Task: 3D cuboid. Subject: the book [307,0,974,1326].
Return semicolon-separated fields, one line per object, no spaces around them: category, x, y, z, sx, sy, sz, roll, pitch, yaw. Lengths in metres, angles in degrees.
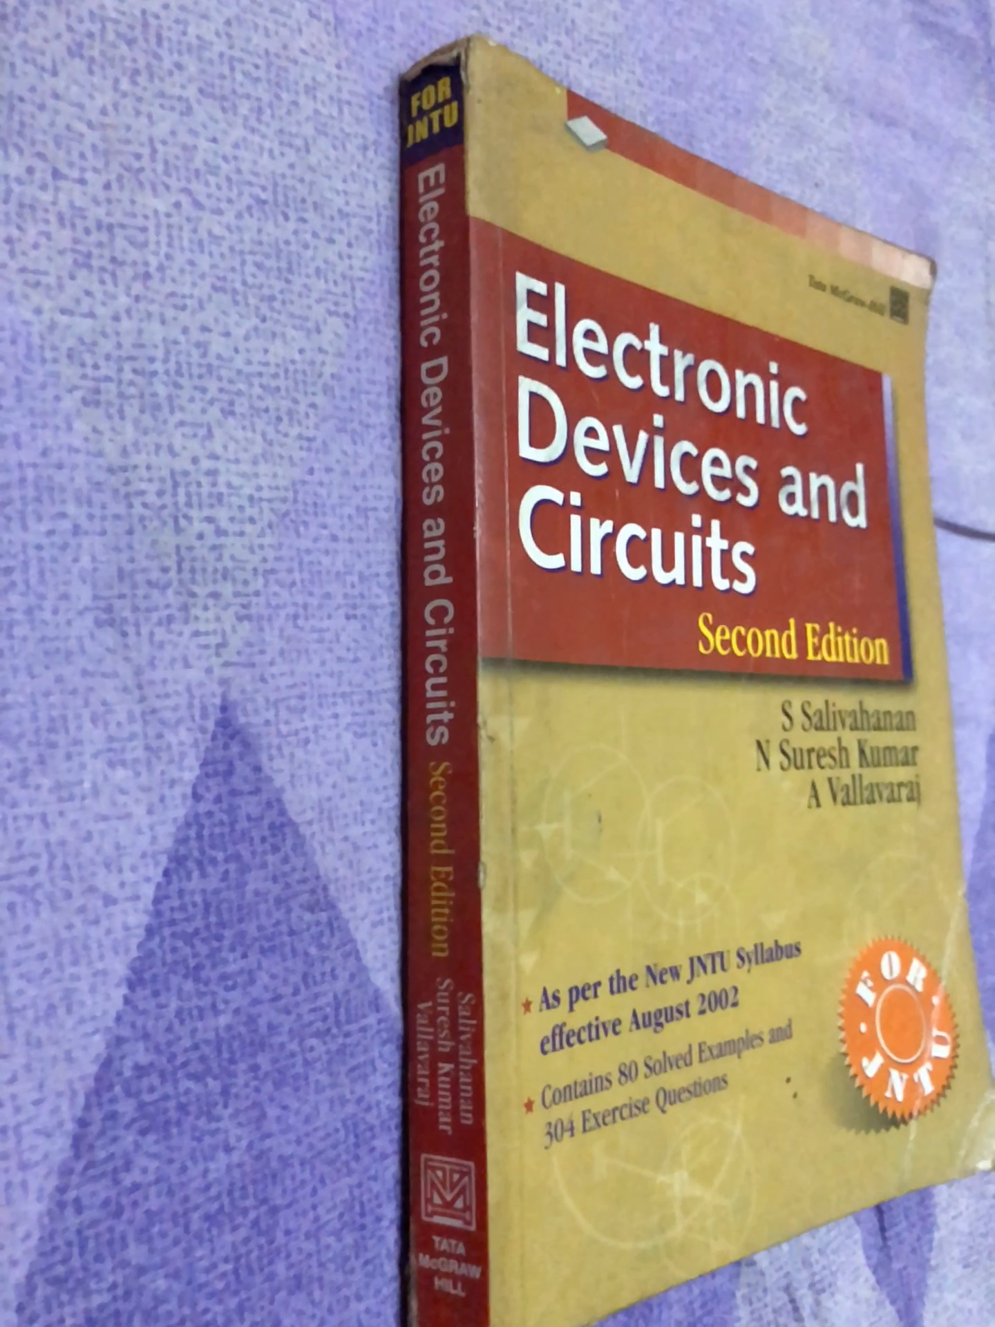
book;0.039;0.002;0.250;0.161;0.040;0.240;3;84;-39
